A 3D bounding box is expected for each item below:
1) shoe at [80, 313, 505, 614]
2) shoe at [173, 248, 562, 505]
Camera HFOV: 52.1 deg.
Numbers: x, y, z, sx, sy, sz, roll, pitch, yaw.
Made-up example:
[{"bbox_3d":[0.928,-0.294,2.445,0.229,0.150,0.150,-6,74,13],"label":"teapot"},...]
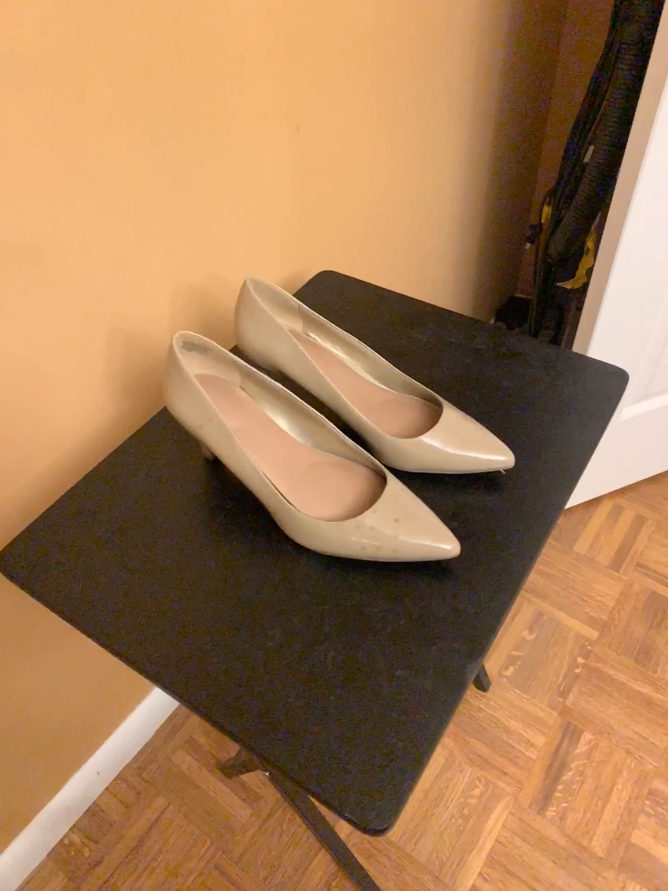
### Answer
[{"bbox_3d":[-0.037,0.002,0.524,0.301,0.090,0.100,22,52,22],"label":"shoe"},{"bbox_3d":[0.021,-0.069,0.580,0.301,0.090,0.100,22,52,22],"label":"shoe"}]
